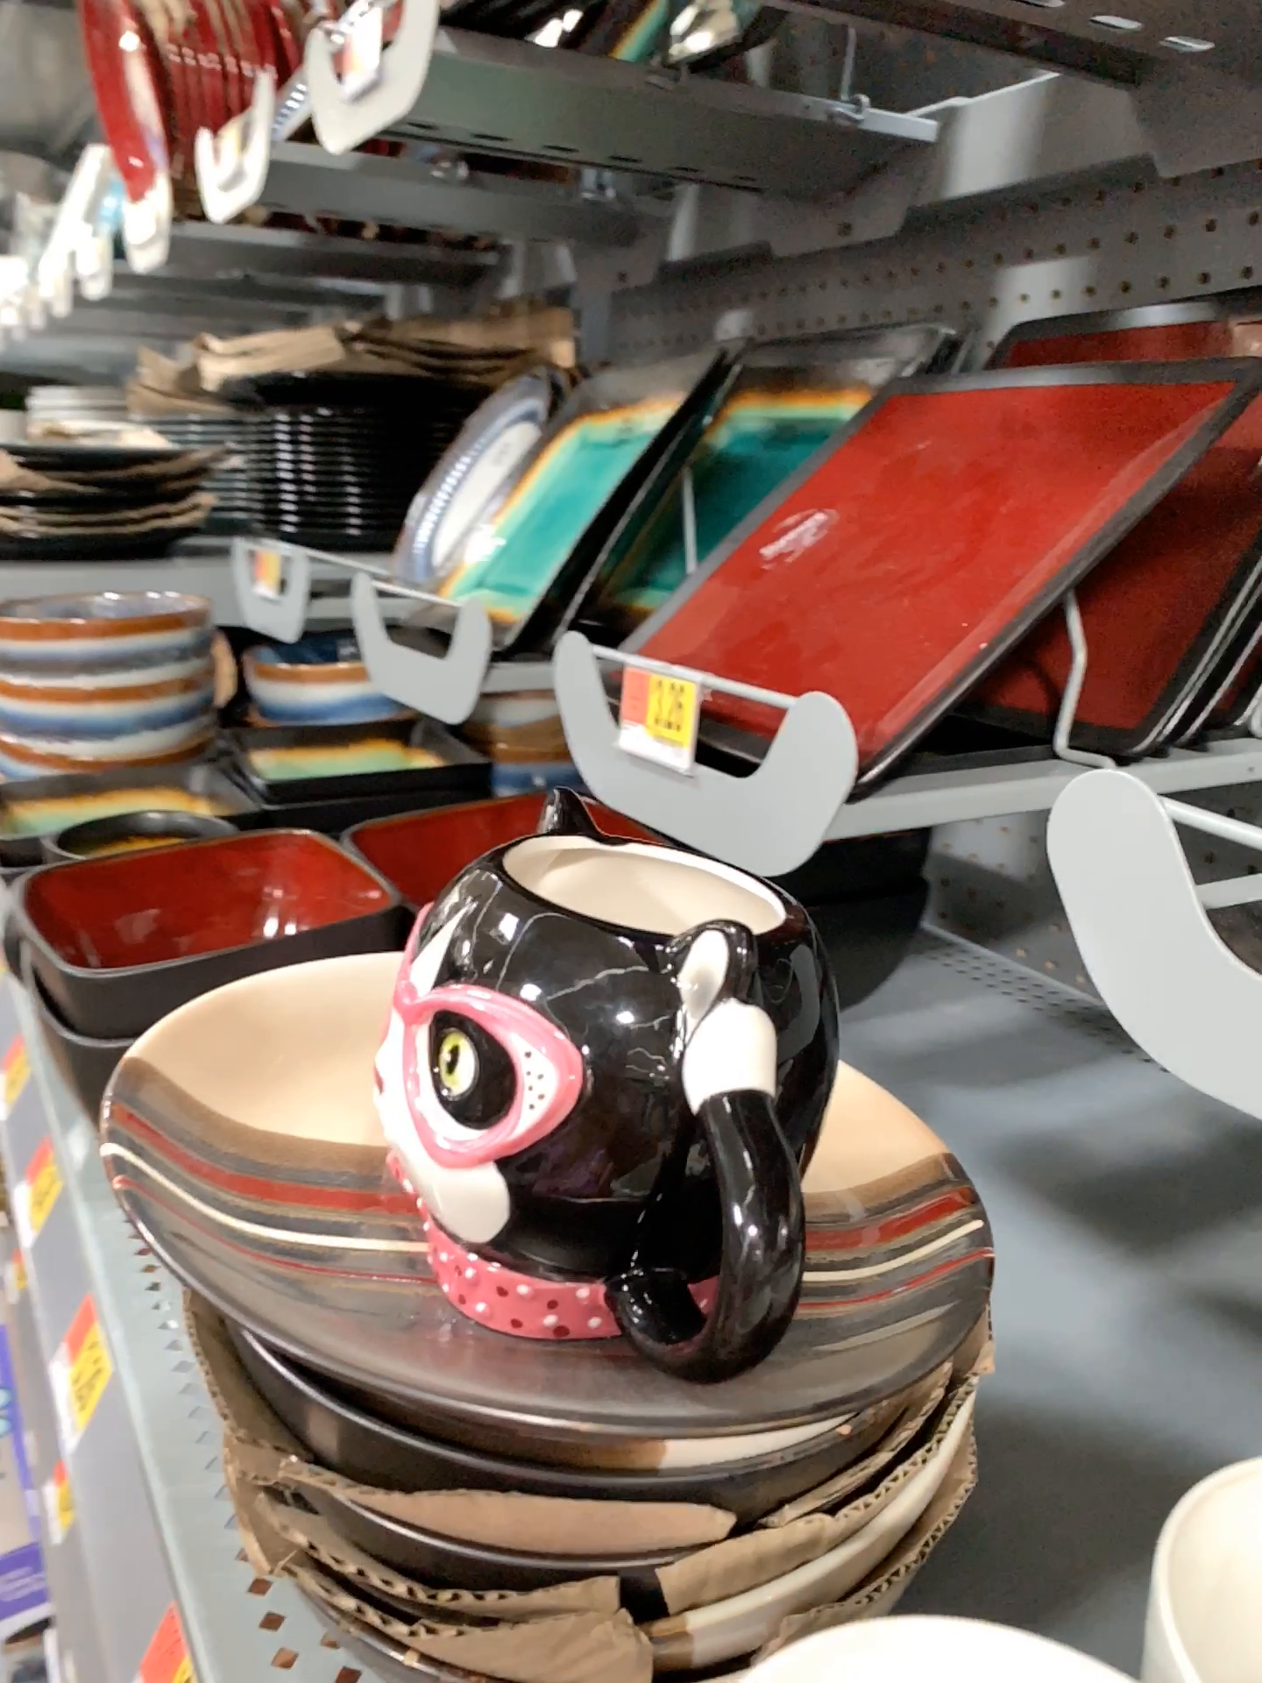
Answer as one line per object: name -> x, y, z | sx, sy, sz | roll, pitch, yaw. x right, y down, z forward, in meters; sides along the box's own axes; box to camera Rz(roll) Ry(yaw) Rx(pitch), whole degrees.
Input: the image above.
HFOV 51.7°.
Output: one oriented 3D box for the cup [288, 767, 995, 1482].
cup -> -0.012, 0.040, 0.273 | 0.096, 0.074, 0.145 | -5, 18, -21
